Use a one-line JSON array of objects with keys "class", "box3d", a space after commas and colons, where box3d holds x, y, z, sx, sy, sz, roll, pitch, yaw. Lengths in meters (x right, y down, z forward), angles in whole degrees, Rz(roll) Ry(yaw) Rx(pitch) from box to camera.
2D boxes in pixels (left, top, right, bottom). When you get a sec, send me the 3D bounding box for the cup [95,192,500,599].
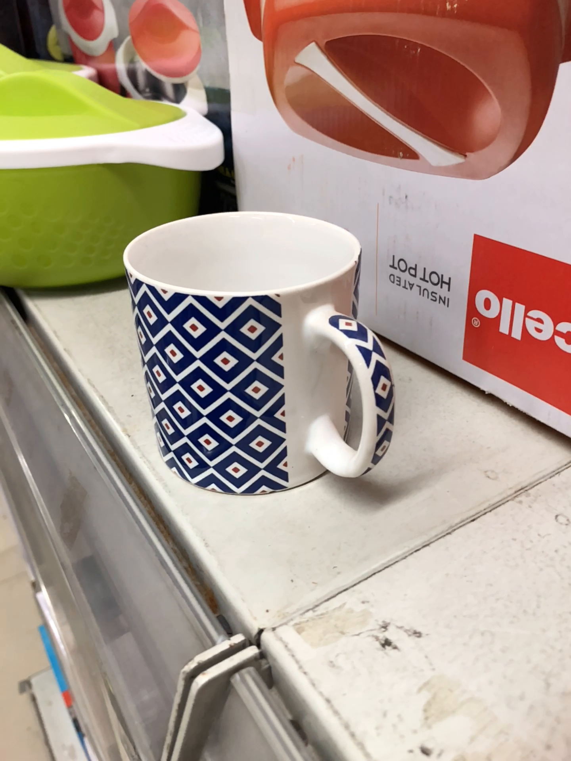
[{"class": "cup", "box3d": [-0.002, -0.007, 0.220, 0.080, 0.079, 0.110, -19, 35, -26]}]
